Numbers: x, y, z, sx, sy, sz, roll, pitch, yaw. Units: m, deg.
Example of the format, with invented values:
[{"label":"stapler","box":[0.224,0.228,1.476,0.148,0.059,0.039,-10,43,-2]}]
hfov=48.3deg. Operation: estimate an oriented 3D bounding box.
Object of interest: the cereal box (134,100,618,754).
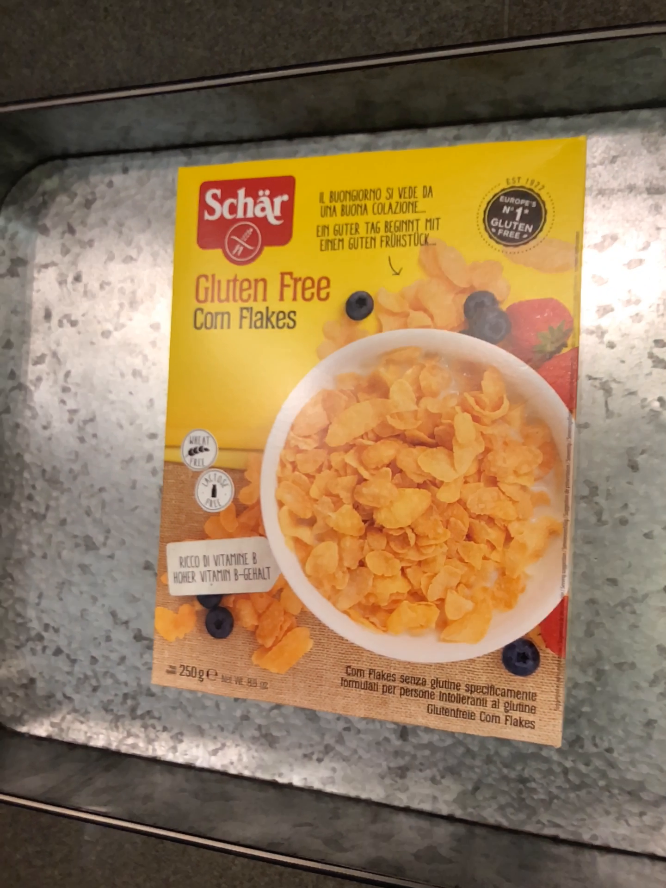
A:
[{"label":"cereal box","box":[0.019,-0.010,0.347,0.200,0.070,0.250,2,89,18]}]
